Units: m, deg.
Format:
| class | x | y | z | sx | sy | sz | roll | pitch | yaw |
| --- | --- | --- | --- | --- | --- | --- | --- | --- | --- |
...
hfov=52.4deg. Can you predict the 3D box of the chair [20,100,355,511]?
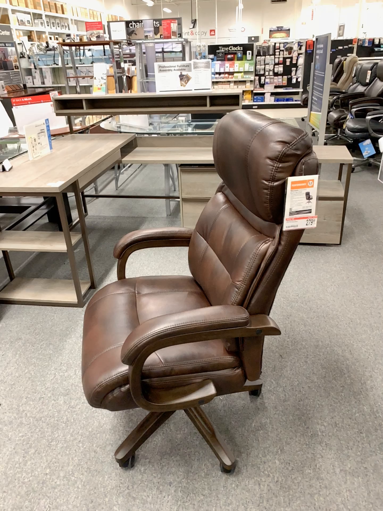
| class | x | y | z | sx | sy | sz | roll | pitch | yaw |
| --- | --- | --- | --- | --- | --- | --- | --- | --- | --- |
| chair | -0.044 | 0.106 | 1.347 | 0.700 | 1.094 | 0.714 | -8 | 28 | -12 |
